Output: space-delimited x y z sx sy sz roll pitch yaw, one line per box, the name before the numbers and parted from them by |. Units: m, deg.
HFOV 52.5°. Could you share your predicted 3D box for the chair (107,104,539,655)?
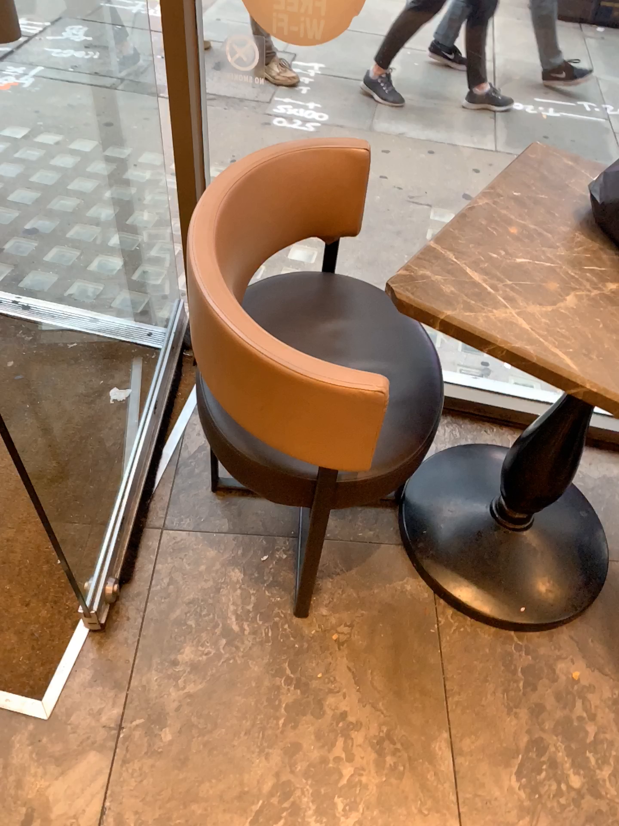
chair | 0.052 -0.078 1.228 0.510 0.654 0.767 10 48 3
